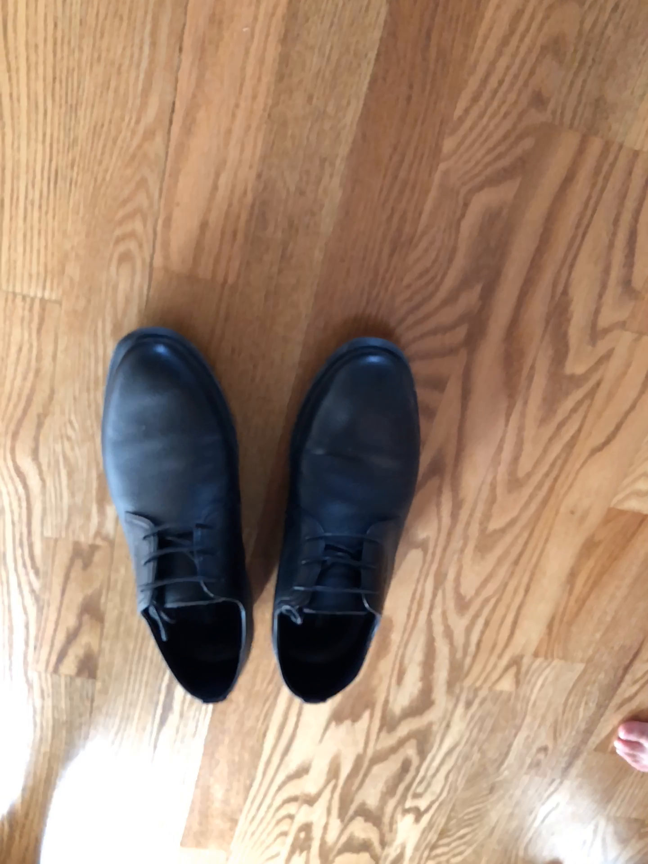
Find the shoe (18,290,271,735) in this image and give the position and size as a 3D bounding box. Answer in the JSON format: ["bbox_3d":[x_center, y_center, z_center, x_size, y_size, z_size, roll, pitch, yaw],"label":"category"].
[{"bbox_3d":[-0.112,0.065,0.540,0.110,0.124,0.305,-5,118,-1],"label":"shoe"}]

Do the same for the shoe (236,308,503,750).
[{"bbox_3d":[0.016,0.079,0.541,0.110,0.124,0.300,10,117,-9],"label":"shoe"}]
